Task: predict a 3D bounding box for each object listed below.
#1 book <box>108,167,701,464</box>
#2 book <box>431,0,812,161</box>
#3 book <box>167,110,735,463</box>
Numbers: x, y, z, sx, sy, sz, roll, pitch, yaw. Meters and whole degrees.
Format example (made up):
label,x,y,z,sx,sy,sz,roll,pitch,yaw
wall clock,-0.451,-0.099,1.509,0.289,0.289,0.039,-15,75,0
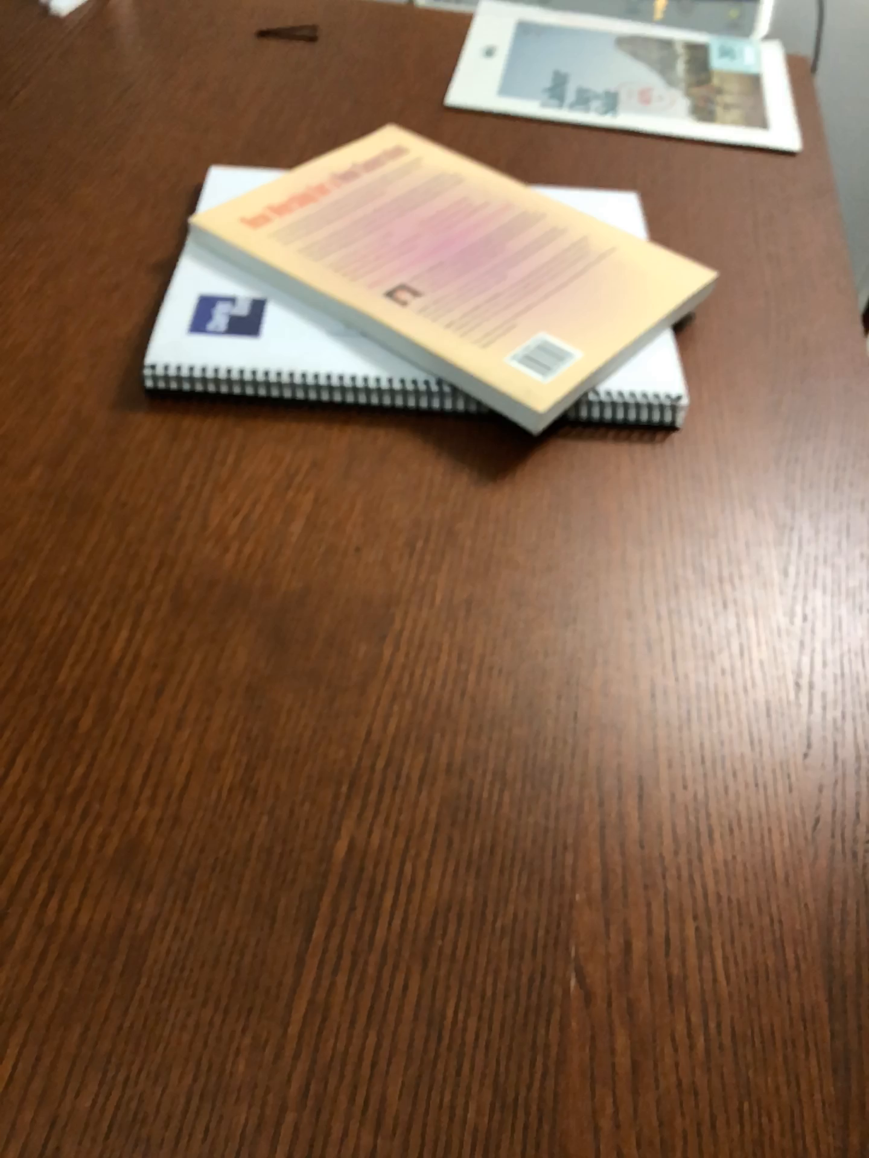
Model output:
label,x,y,z,sx,sy,sz,roll,pitch,yaw
book,-0.012,-0.160,0.556,0.290,0.020,0.231,3,50,-2
book,0.146,-0.396,0.755,0.270,0.010,0.201,9,50,3
book,0.009,-0.184,0.556,0.260,0.020,0.191,34,56,22
